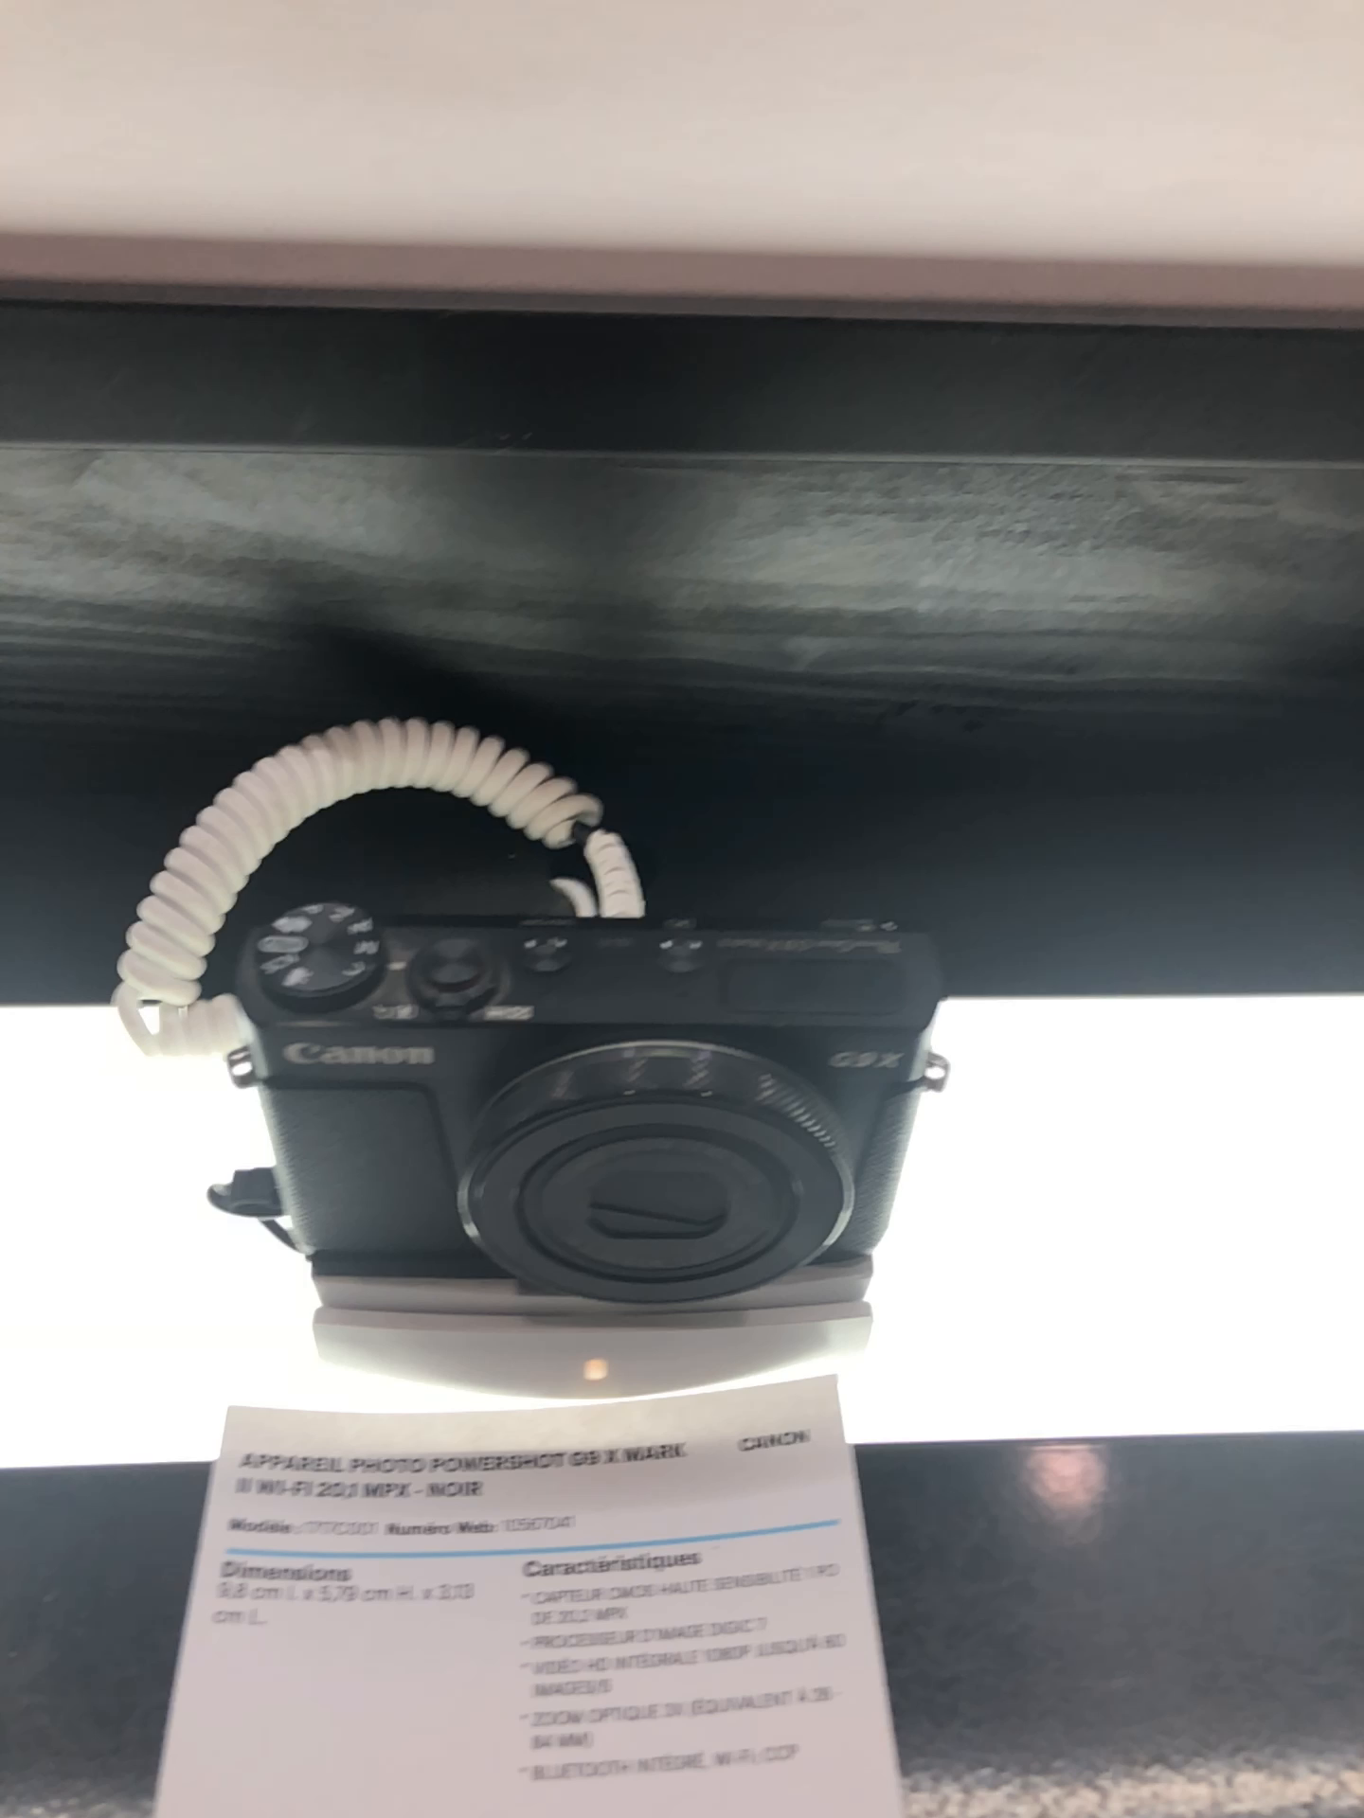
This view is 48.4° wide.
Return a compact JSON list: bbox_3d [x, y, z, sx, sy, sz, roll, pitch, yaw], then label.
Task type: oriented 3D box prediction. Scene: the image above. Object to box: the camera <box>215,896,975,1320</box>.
[{"bbox_3d":[-0.012,0.030,0.213,0.092,0.060,0.026,1,43,-2],"label":"camera"}]
